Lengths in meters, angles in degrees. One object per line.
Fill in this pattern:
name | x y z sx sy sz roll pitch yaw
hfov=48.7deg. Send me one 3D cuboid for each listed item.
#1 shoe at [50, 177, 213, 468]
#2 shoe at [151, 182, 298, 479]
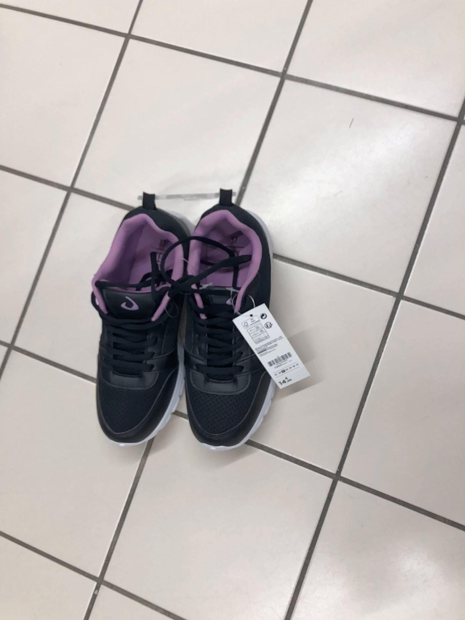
shoe | -0.094 0.010 0.516 0.110 0.090 0.260 4 85 9
shoe | -0.002 0.018 0.509 0.110 0.090 0.260 5 85 6
